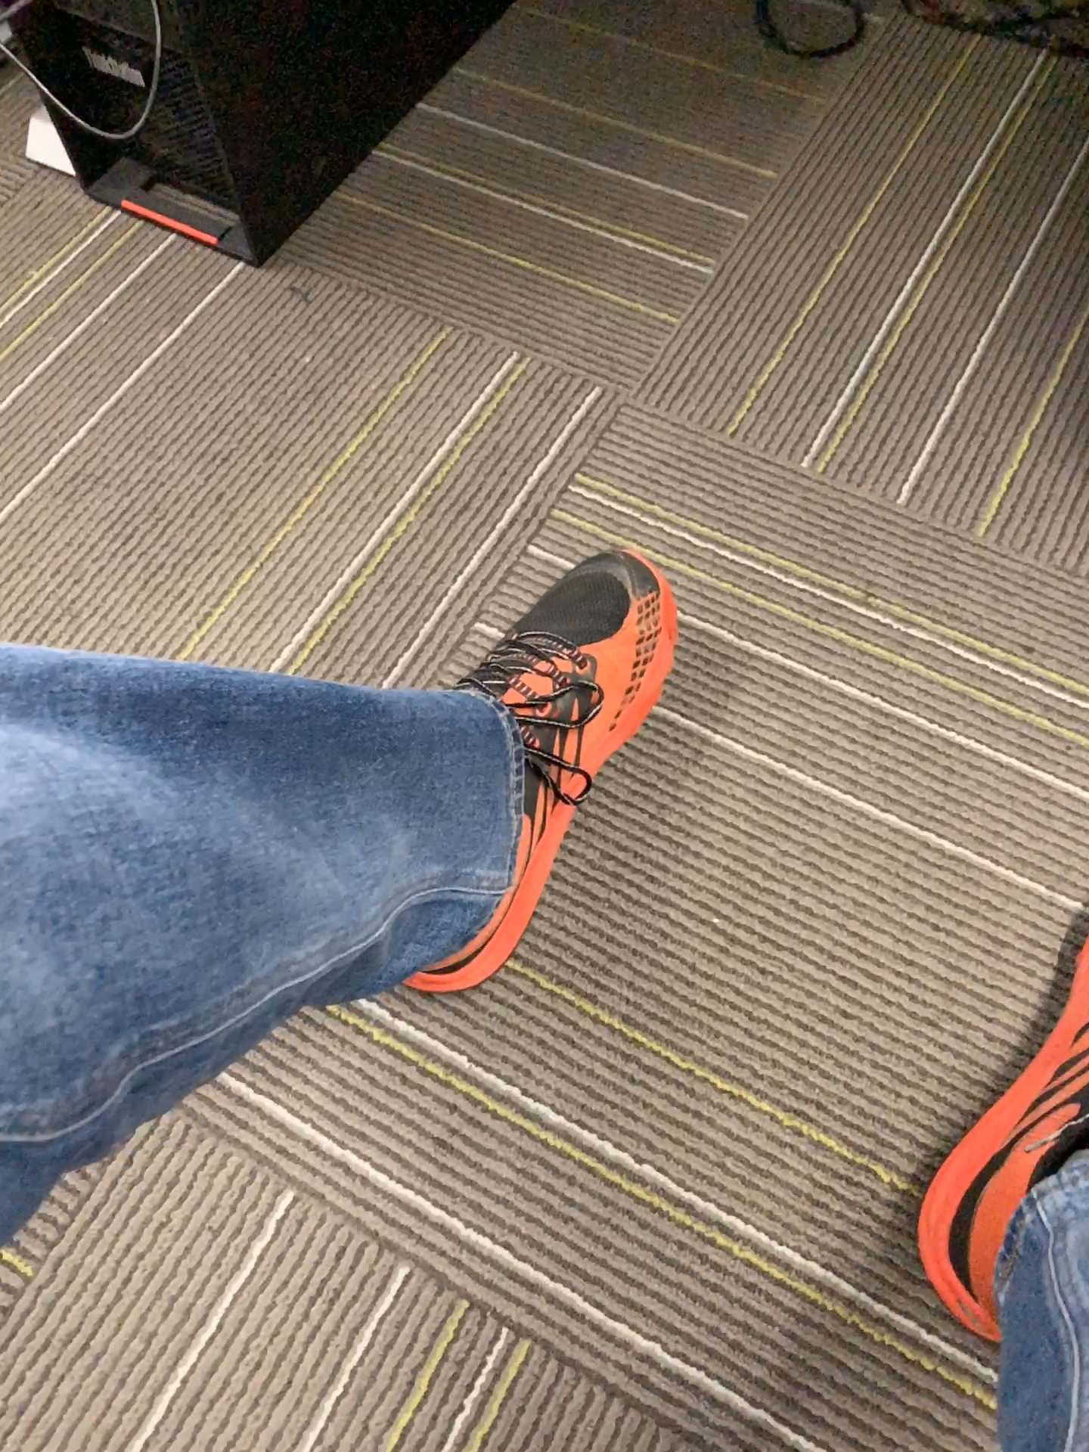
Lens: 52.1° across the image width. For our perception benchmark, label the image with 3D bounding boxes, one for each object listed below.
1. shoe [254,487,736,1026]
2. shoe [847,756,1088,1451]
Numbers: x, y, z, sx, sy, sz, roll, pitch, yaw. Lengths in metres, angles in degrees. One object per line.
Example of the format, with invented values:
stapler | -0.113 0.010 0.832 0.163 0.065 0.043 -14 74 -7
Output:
shoe | -0.018 0.004 0.674 0.132 0.090 0.305 17 64 33
shoe | 0.309 0.182 0.574 0.140 0.090 0.302 38 71 7
